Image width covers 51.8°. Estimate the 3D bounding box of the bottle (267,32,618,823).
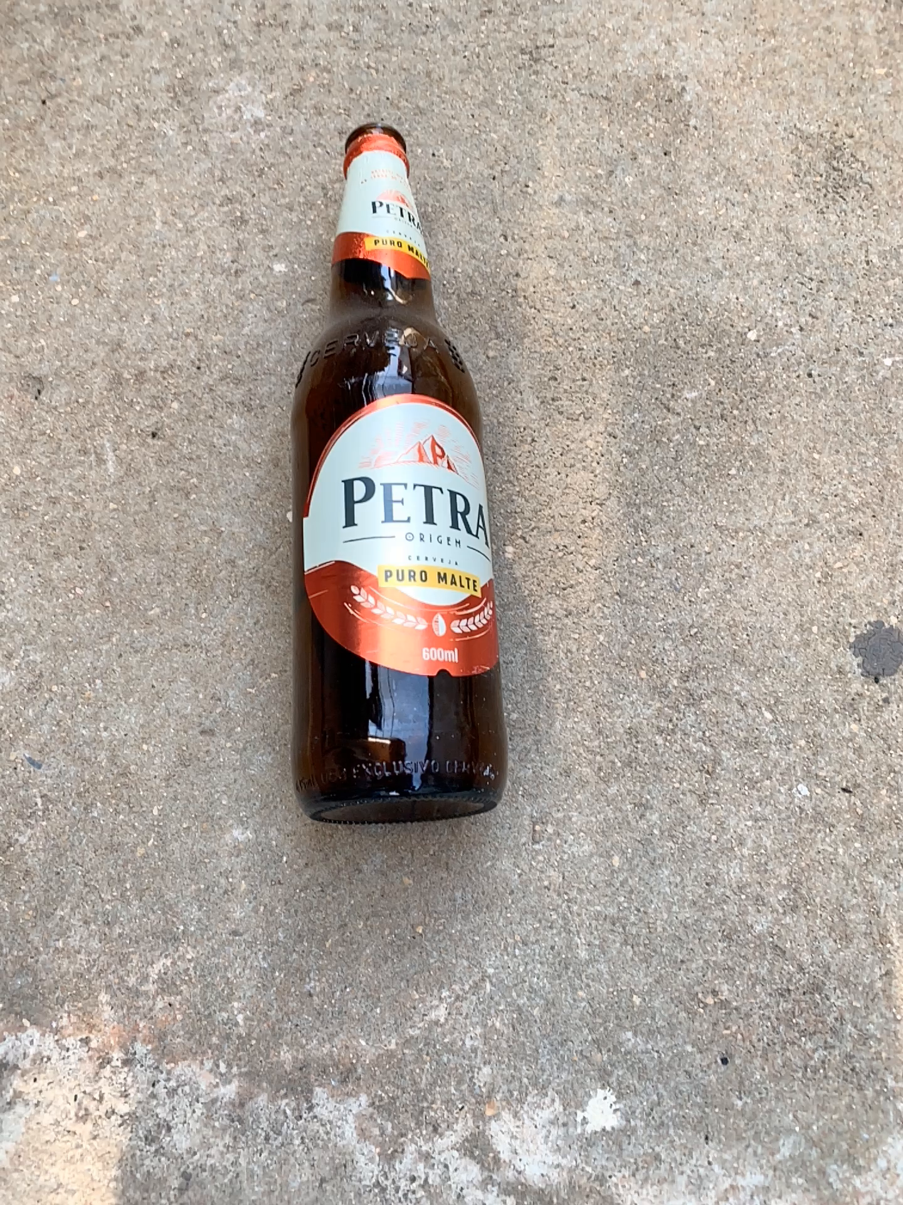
[{"bbox_3d":[-0.012,-0.067,0.331,0.080,0.070,0.270,10,62,-27],"label":"bottle"}]
